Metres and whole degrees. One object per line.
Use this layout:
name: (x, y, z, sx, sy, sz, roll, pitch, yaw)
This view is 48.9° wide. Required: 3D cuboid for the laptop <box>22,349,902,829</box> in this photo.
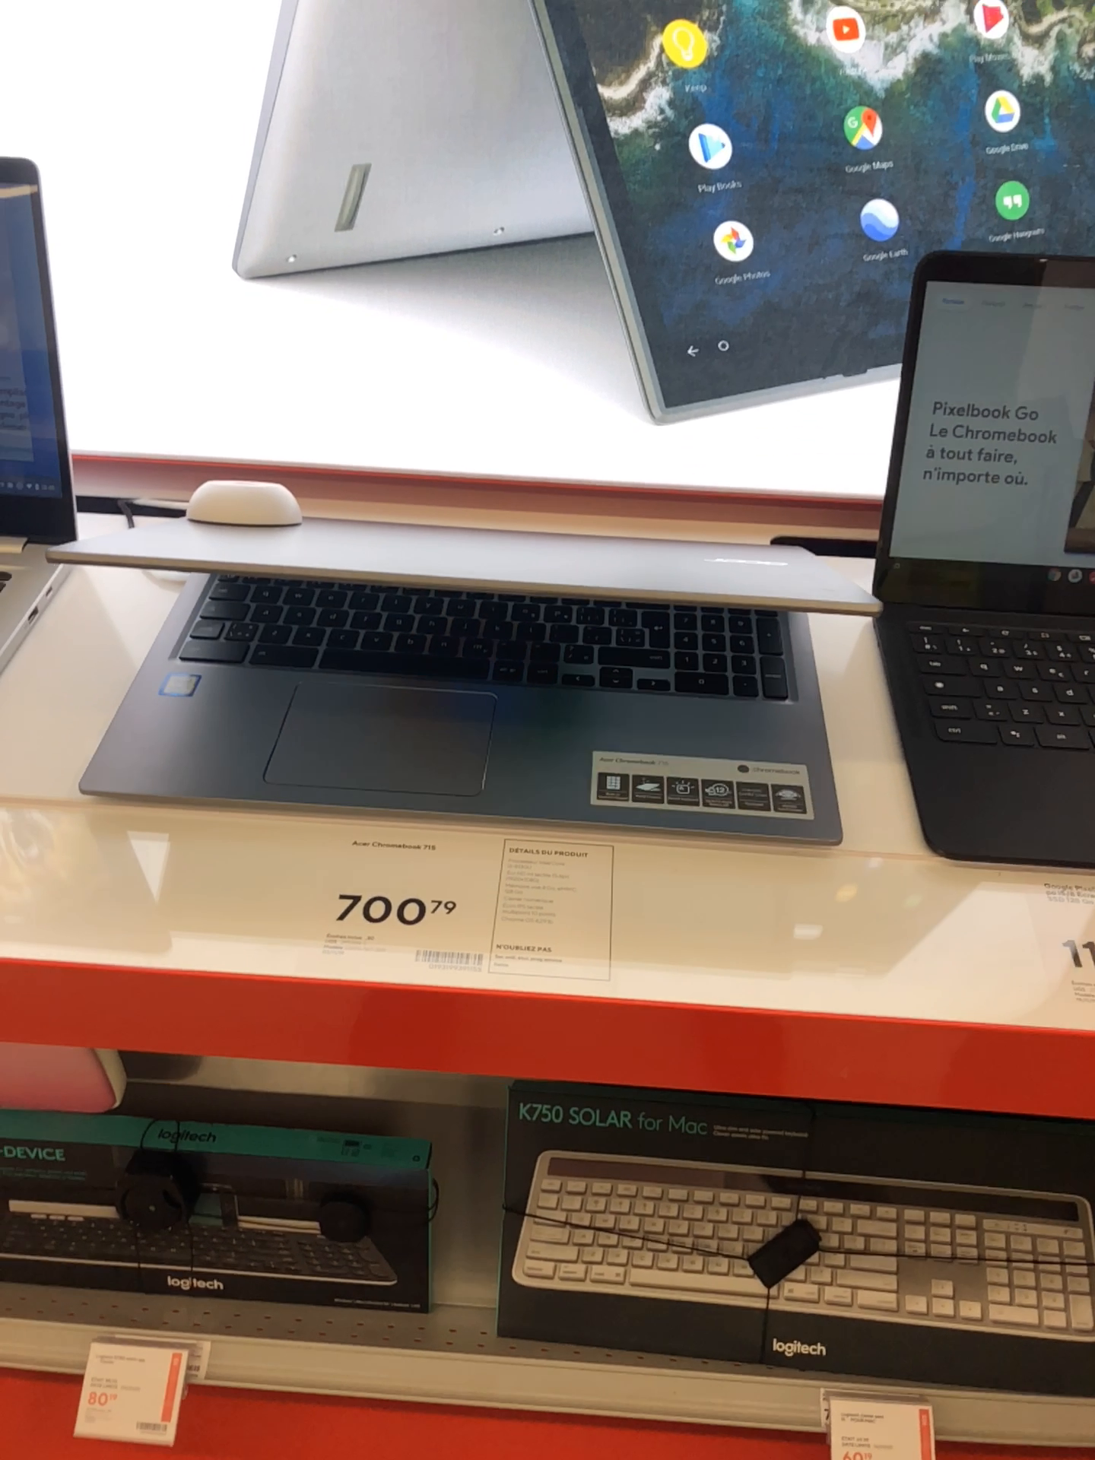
laptop: (-0.028, -0.085, 0.631, 0.368, 0.109, 0.245, 3, 41, 0)
